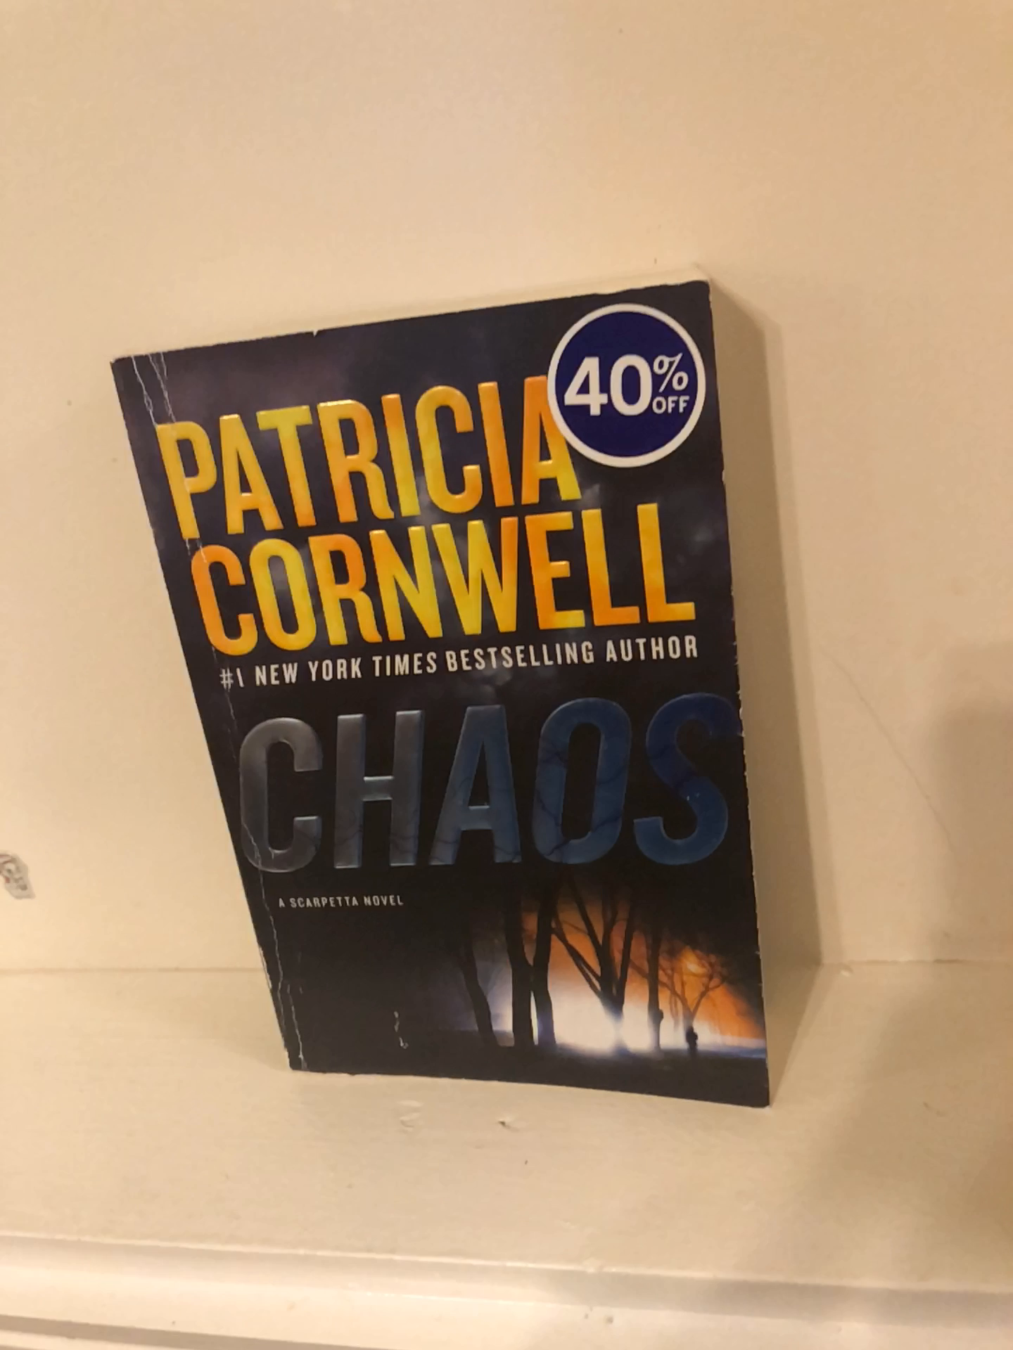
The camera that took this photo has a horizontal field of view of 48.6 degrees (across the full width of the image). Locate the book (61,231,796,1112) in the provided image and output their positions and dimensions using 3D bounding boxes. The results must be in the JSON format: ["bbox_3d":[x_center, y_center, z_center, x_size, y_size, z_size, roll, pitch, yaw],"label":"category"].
[{"bbox_3d":[-0.014,0.006,0.316,0.170,0.219,0.050,-2,17,19],"label":"book"}]
